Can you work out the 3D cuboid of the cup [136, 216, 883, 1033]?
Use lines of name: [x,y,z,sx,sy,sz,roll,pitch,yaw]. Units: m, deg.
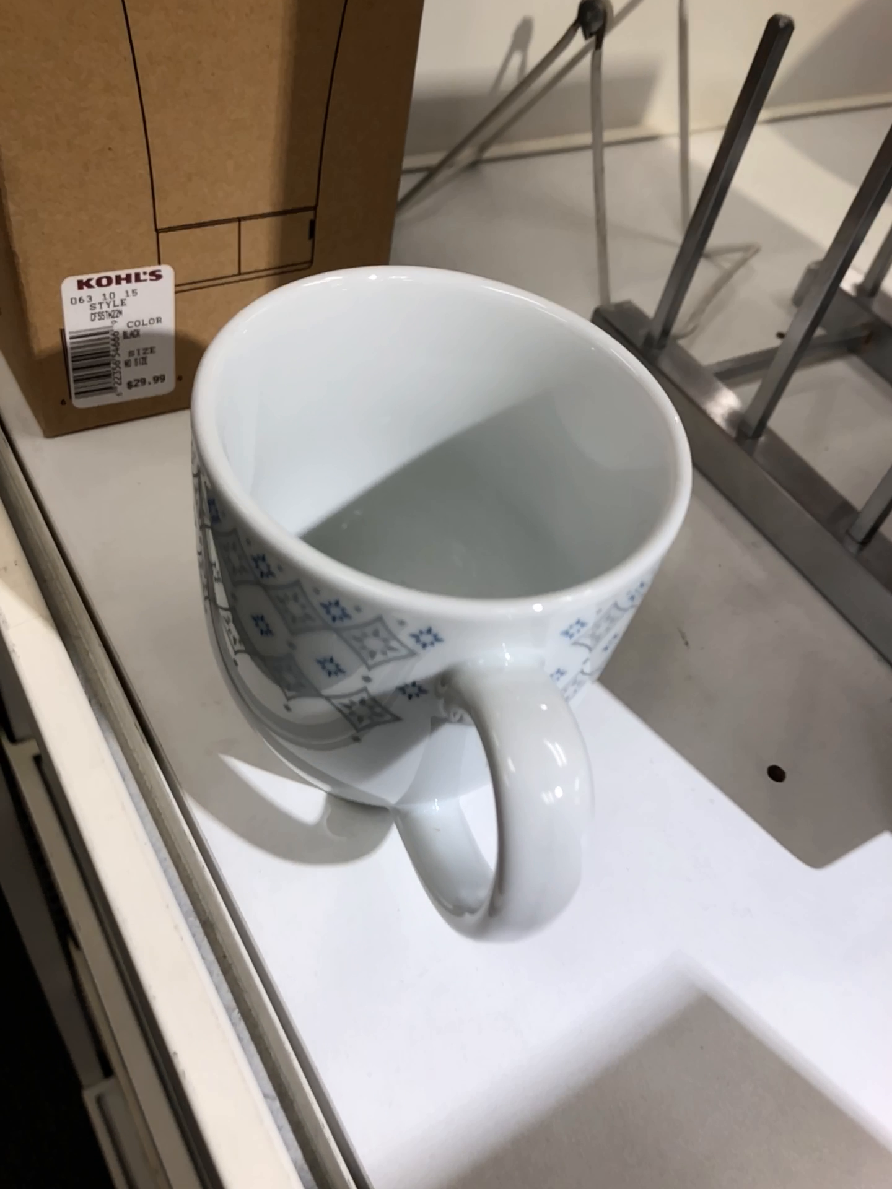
cup: [-0.004,-0.001,0.222,0.099,0.099,0.136,-9,50,-17]
